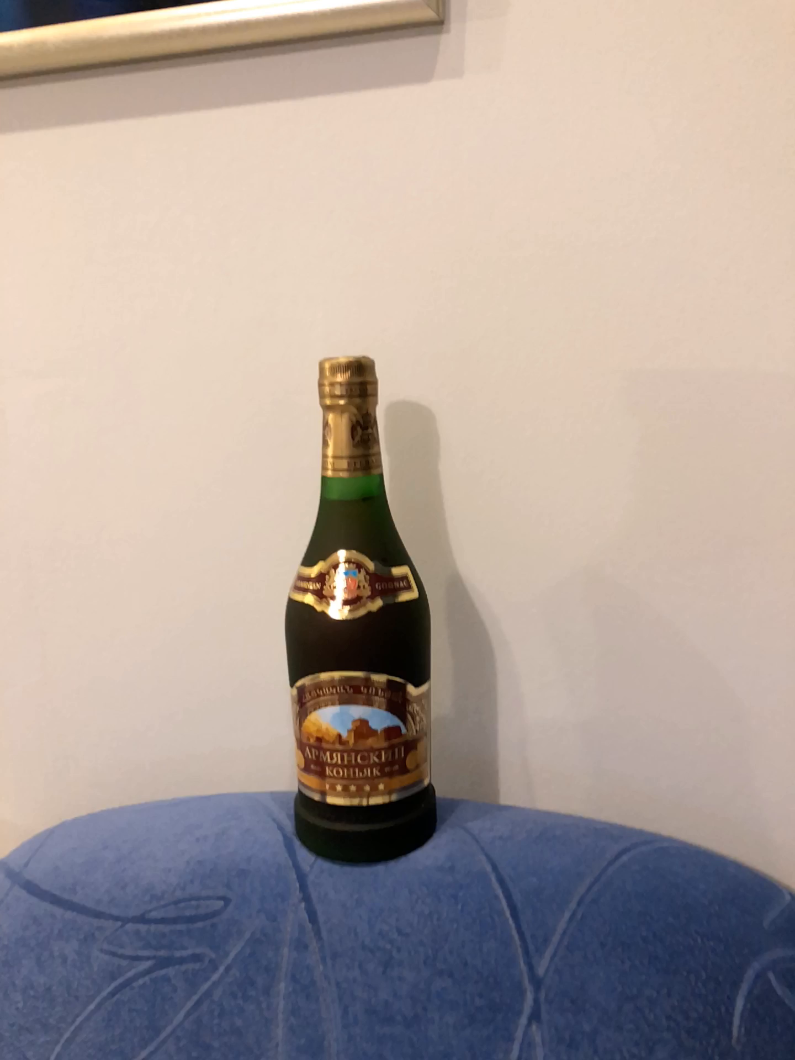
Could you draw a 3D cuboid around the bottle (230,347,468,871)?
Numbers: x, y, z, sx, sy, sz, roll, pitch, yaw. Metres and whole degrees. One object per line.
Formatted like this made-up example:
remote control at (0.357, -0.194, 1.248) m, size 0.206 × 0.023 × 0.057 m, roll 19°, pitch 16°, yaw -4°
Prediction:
bottle at (-0.017, 0.036, 0.438) m, size 0.090 × 0.243 × 0.080 m, roll -2°, pitch 10°, yaw 7°
